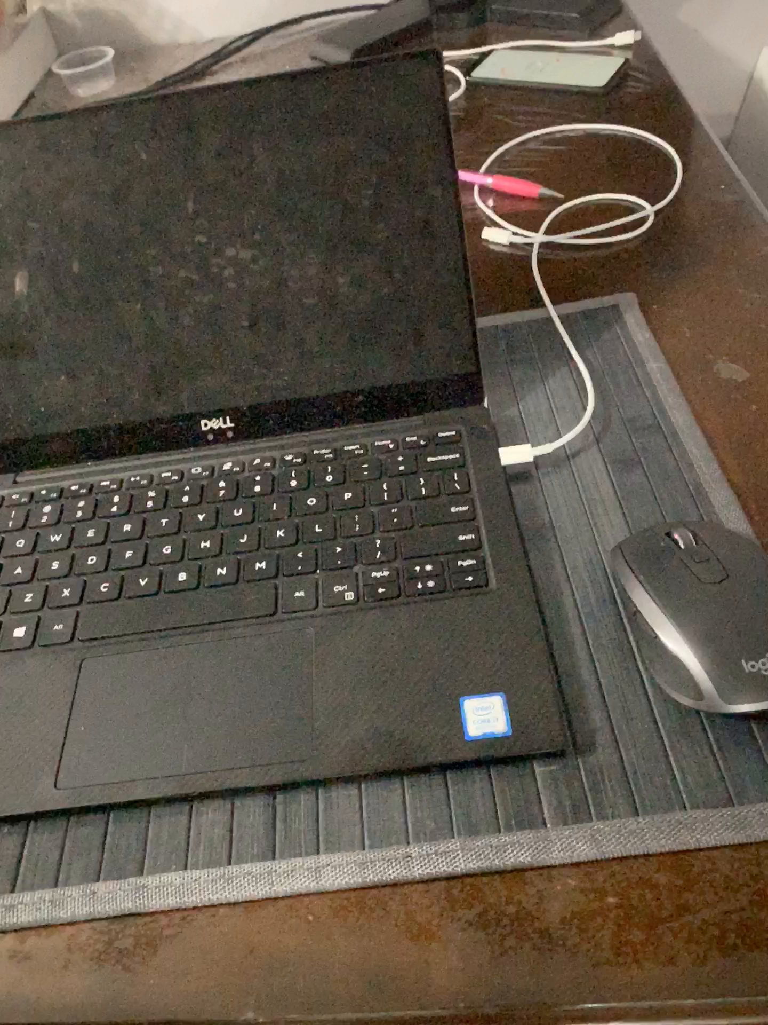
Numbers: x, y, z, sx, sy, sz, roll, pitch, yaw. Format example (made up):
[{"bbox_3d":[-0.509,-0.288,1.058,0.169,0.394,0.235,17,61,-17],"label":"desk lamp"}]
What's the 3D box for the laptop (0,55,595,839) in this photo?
[{"bbox_3d":[-0.091,-0.051,0.339,0.281,0.129,0.299,-8,47,3],"label":"laptop"}]
